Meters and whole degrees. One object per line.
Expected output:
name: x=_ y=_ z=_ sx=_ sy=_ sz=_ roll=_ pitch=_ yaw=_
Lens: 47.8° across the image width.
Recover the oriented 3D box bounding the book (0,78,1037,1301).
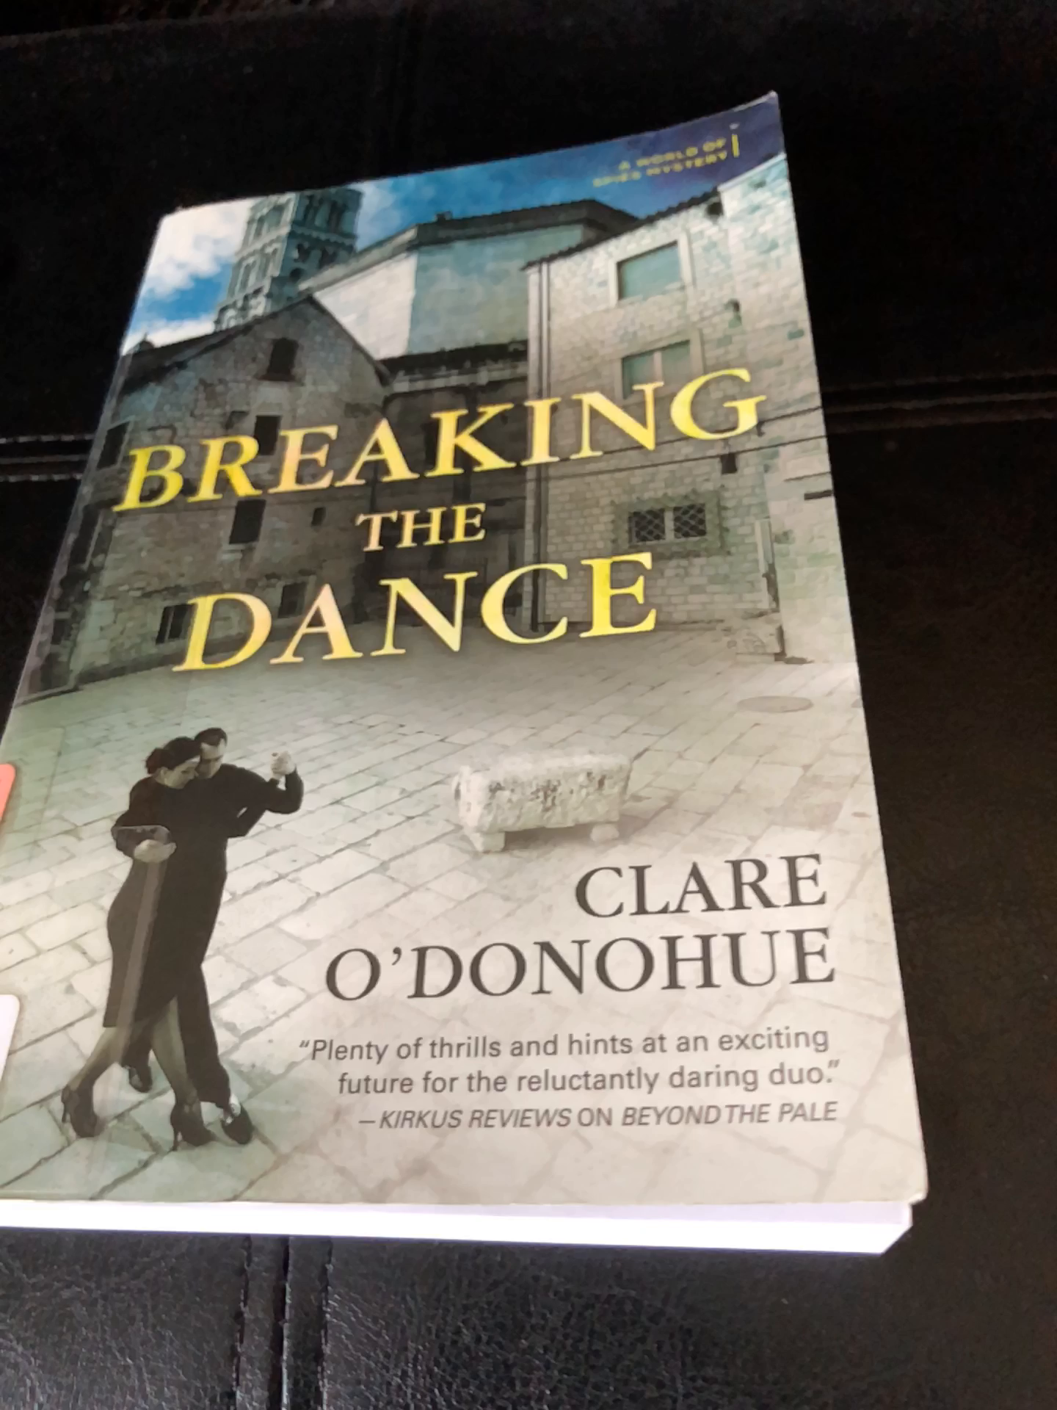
book: x=-0.012 y=-0.020 z=0.201 sx=0.140 sy=0.040 sz=0.210 roll=-1 pitch=59 yaw=5
